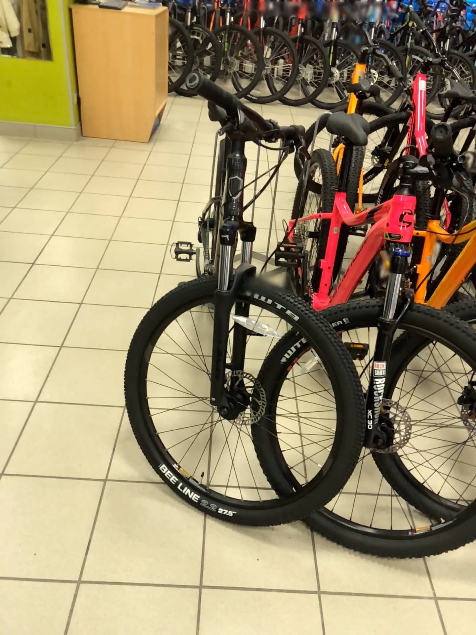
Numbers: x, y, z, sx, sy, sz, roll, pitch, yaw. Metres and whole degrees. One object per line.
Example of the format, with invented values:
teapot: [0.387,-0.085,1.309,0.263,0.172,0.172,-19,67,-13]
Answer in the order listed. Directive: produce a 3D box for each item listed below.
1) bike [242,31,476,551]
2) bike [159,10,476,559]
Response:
bike: [0.588,-0.255,1.764,0.653,1.074,1.573,-2,34,-12]
bike: [0.183,-0.269,1.790,0.685,1.100,1.588,-3,37,-12]
